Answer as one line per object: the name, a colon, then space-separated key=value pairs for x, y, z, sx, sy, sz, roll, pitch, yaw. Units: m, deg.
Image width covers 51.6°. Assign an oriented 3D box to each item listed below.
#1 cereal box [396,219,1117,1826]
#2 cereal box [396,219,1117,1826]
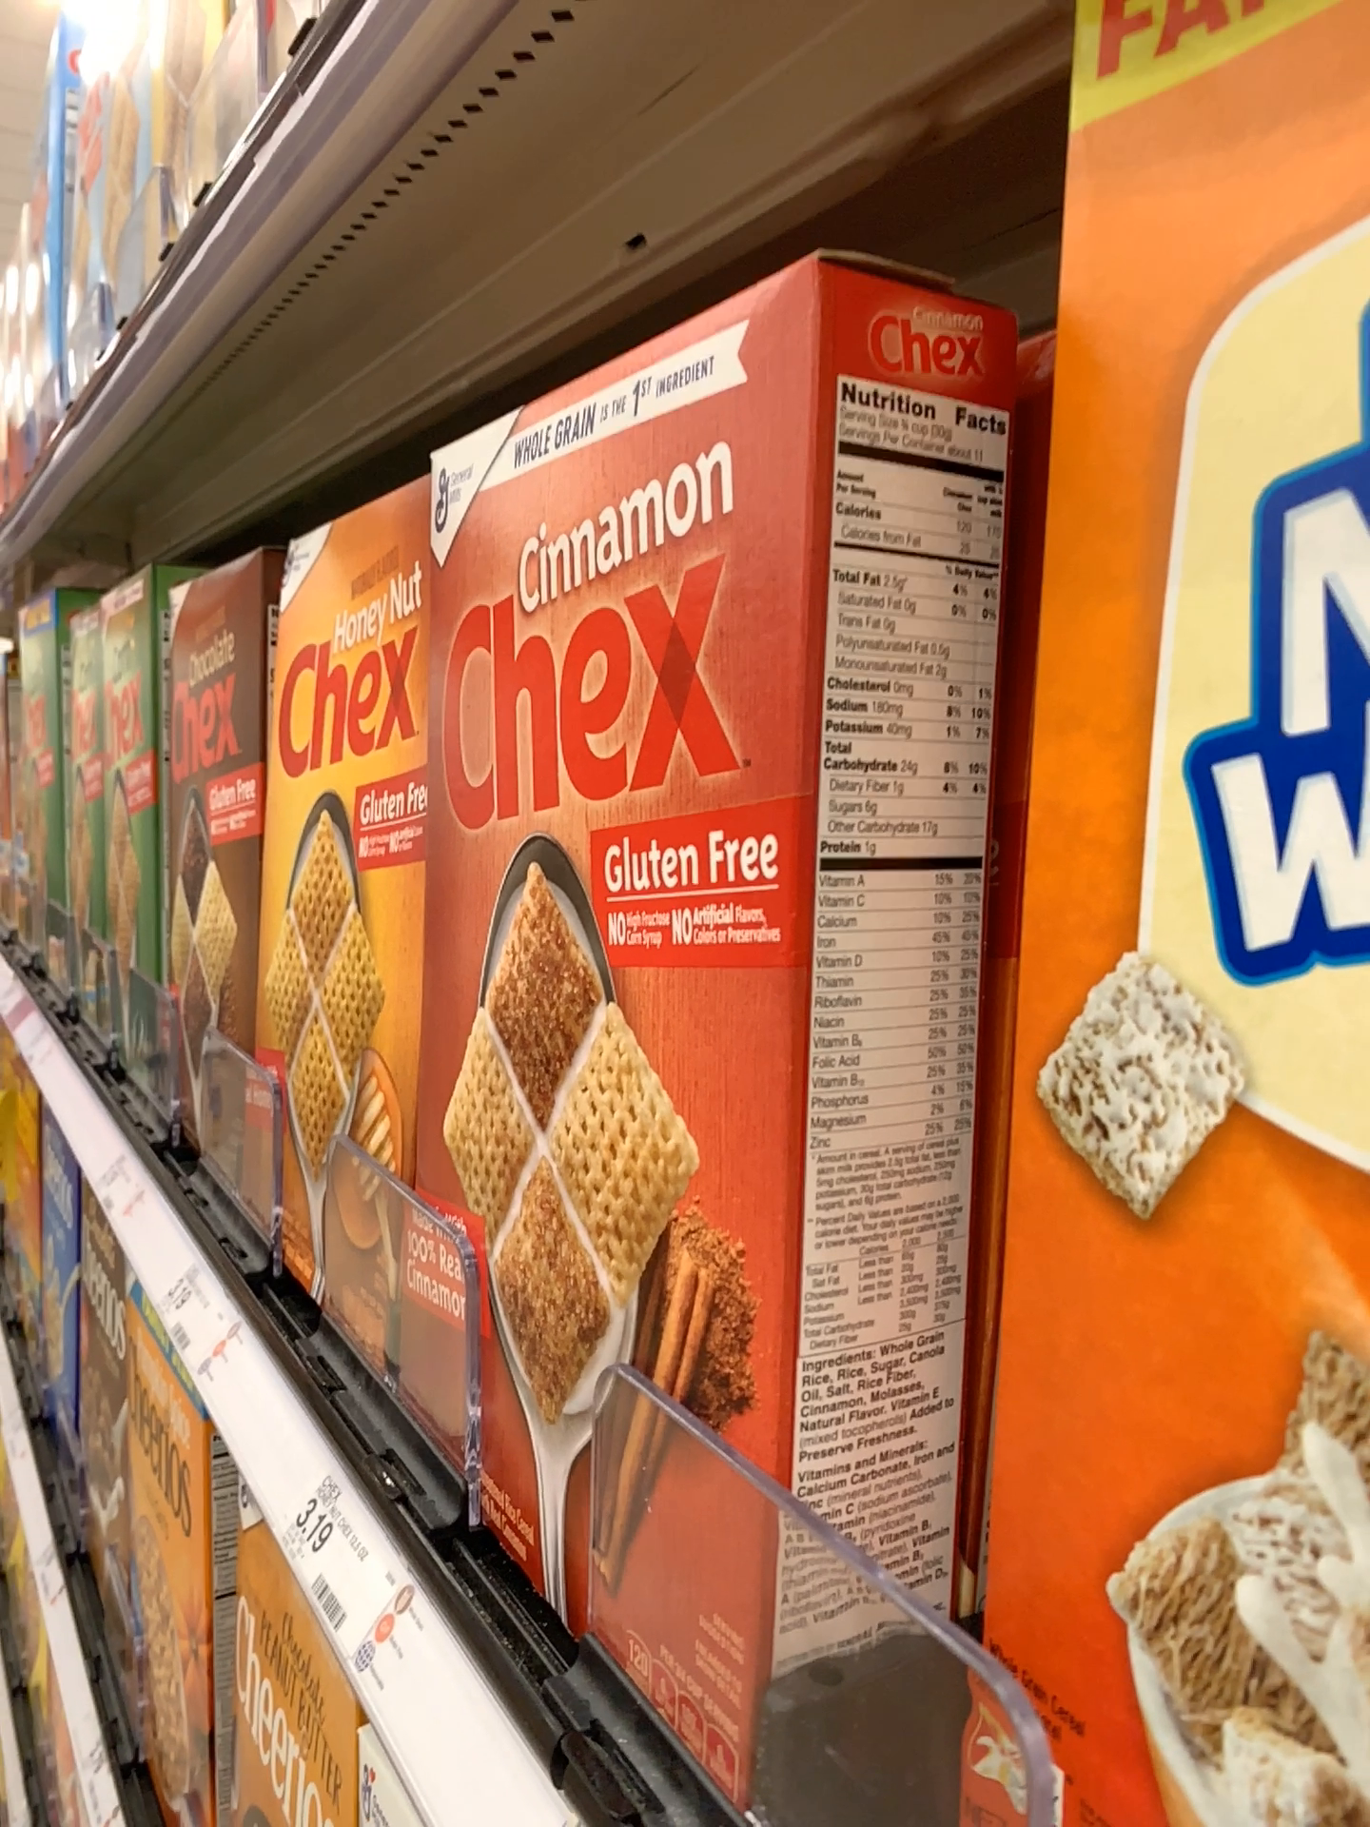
cereal box: x=-0.004 y=0.027 z=0.341 sx=0.060 sy=0.300 sz=0.200 roll=0 pitch=6 yaw=-30
cereal box: x=-0.004 y=0.027 z=0.341 sx=0.060 sy=0.300 sz=0.200 roll=0 pitch=6 yaw=-30
